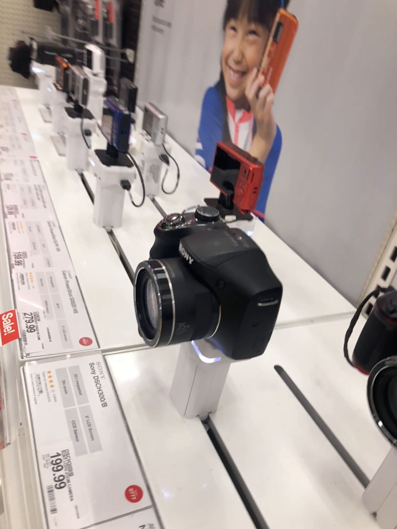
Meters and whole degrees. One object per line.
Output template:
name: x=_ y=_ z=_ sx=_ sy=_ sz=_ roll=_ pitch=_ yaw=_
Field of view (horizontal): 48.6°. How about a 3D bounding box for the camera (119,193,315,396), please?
camera: x=0.003 y=0.013 z=0.342 sx=0.090 sy=0.090 sz=0.130 roll=-4 pitch=34 yaw=-25
